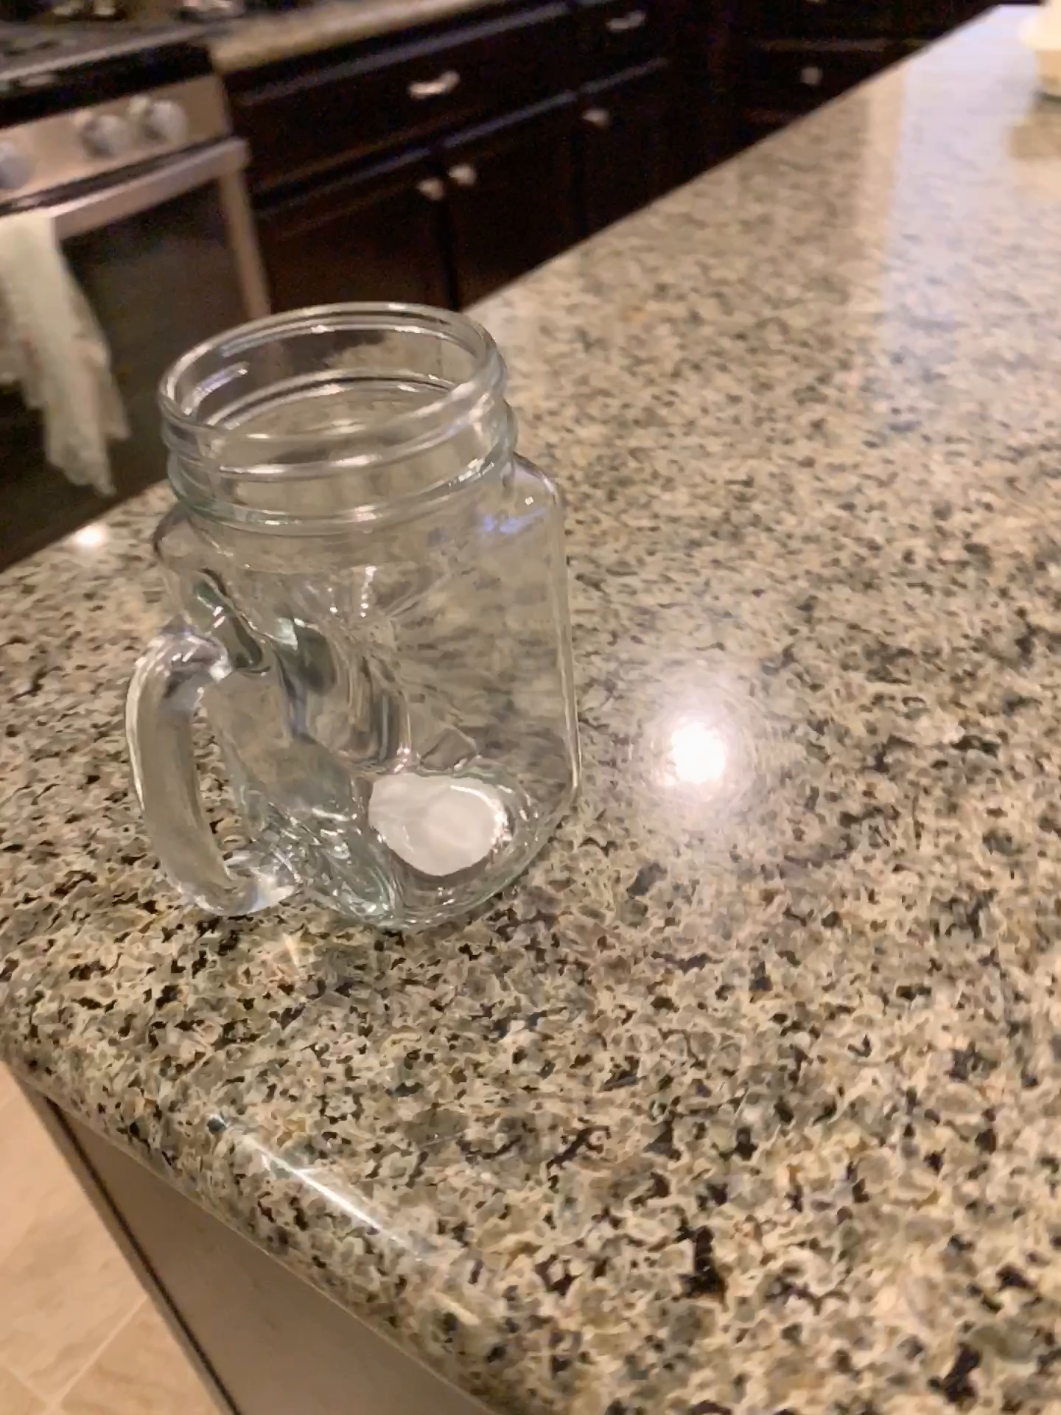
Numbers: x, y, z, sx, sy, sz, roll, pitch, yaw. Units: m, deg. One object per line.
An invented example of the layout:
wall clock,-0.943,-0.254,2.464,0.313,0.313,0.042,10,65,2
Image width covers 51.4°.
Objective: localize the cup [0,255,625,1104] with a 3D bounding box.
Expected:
cup,-0.047,-0.014,0.237,0.080,0.119,0.121,21,45,30
